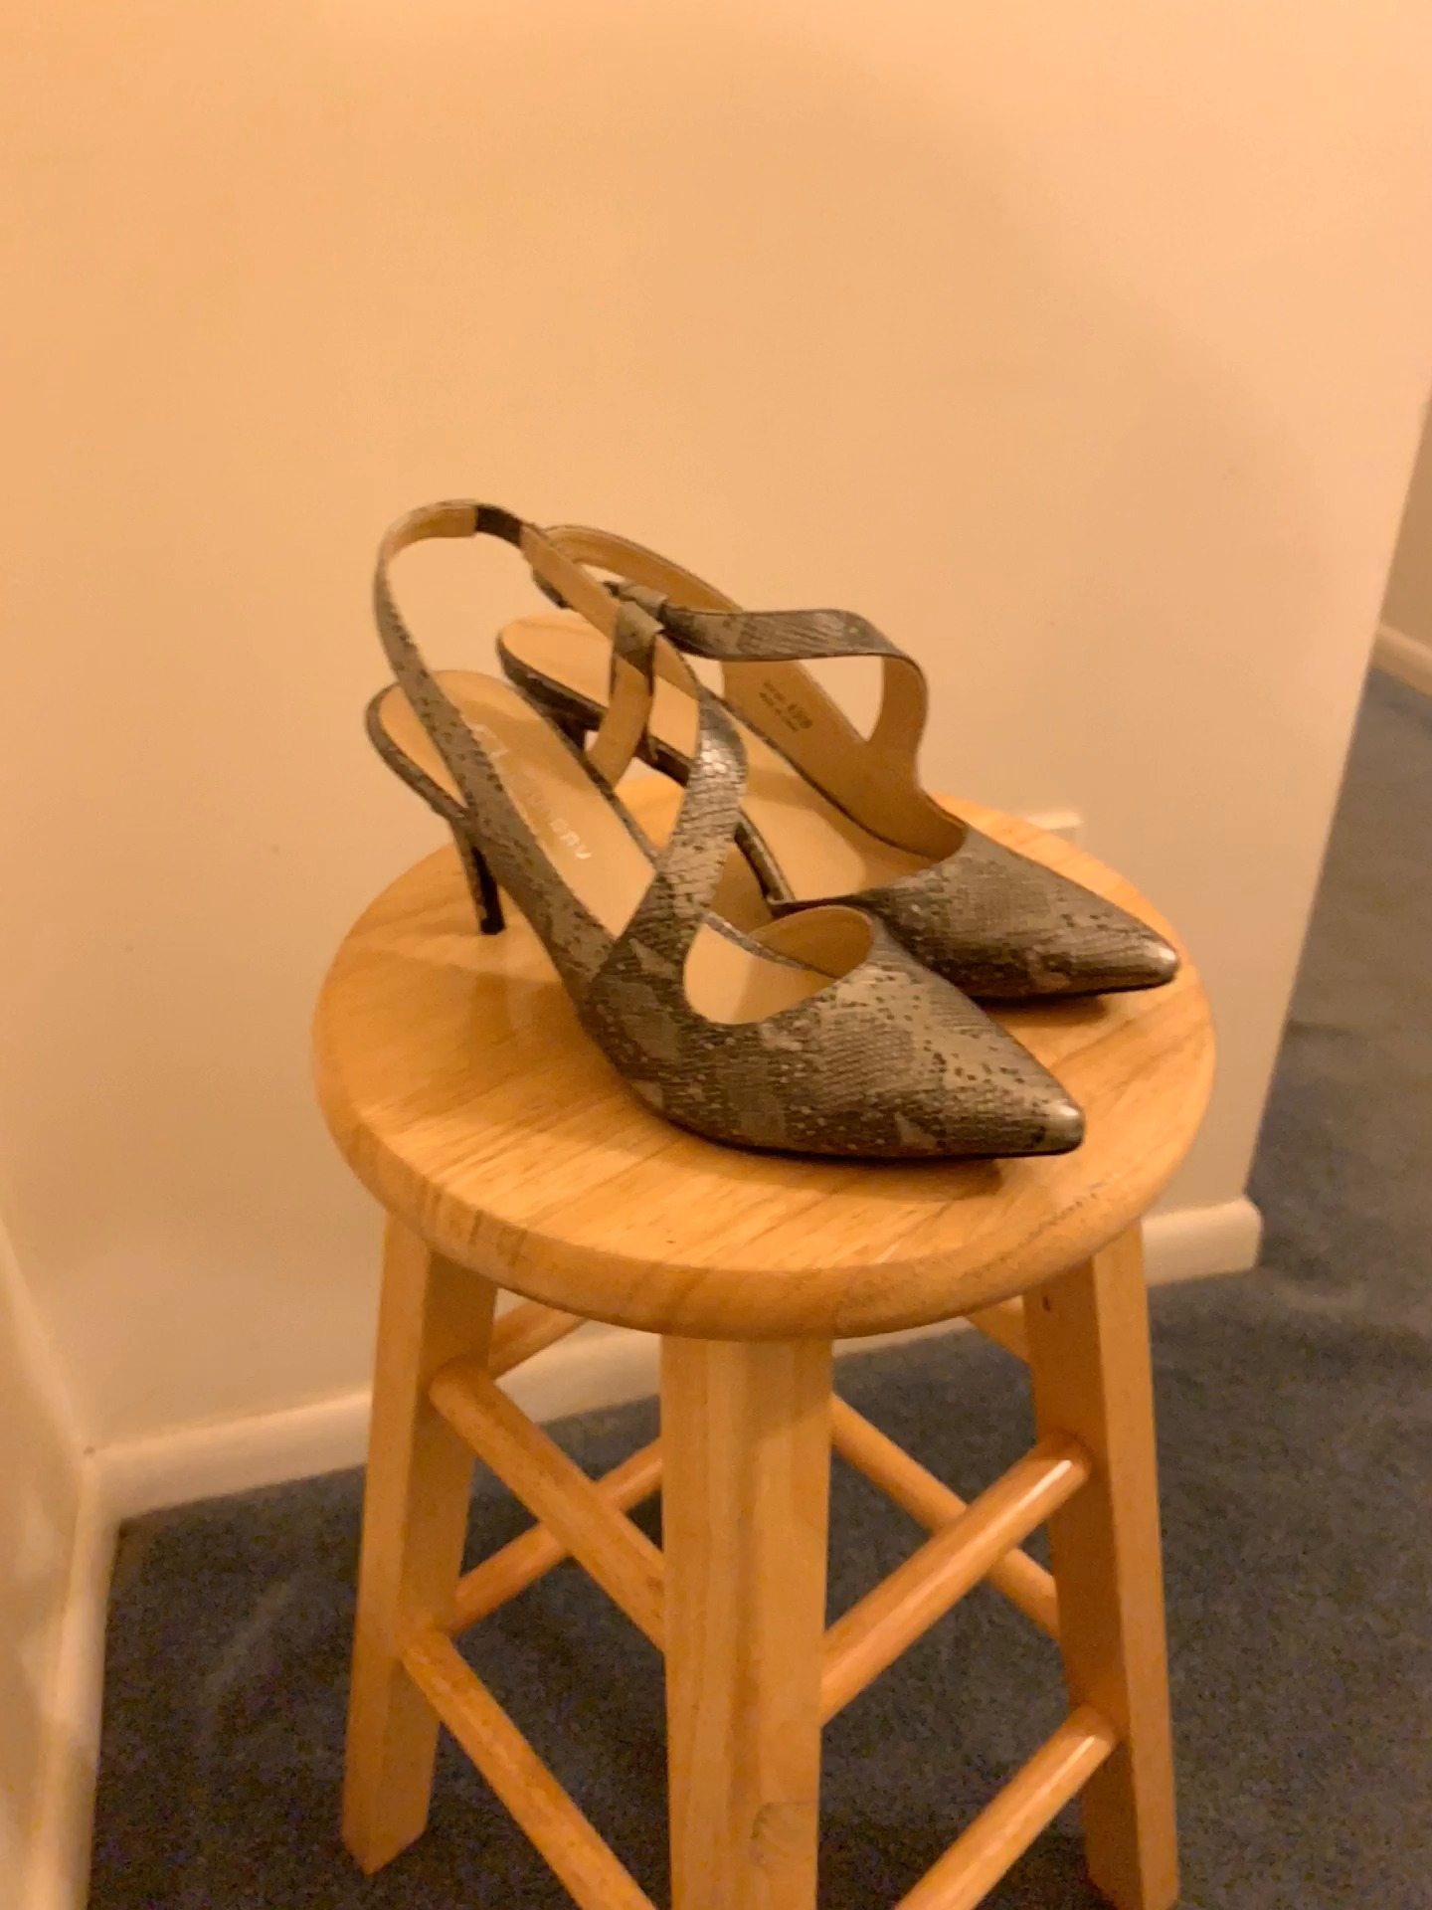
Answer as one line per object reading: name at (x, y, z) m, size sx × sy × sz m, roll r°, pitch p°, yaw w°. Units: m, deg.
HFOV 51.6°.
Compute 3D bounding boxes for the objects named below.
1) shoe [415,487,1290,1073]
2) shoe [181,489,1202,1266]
shoe at (0.037, -0.070, 0.486) m, size 0.251 × 0.106 × 0.103 m, roll 18°, pitch 37°, yaw 27°
shoe at (-0.018, -0.041, 0.434) m, size 0.270 × 0.125 × 0.100 m, roll 21°, pitch 39°, yaw 30°
